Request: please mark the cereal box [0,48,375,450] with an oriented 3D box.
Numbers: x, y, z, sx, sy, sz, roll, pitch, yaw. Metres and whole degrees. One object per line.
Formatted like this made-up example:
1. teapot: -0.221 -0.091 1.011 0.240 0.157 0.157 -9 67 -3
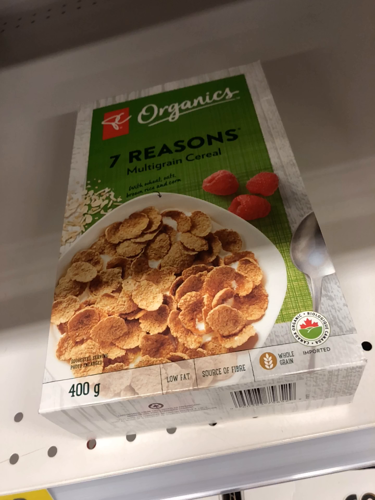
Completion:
1. cereal box: -0.005 -0.023 0.284 0.180 0.060 0.261 -10 52 7
